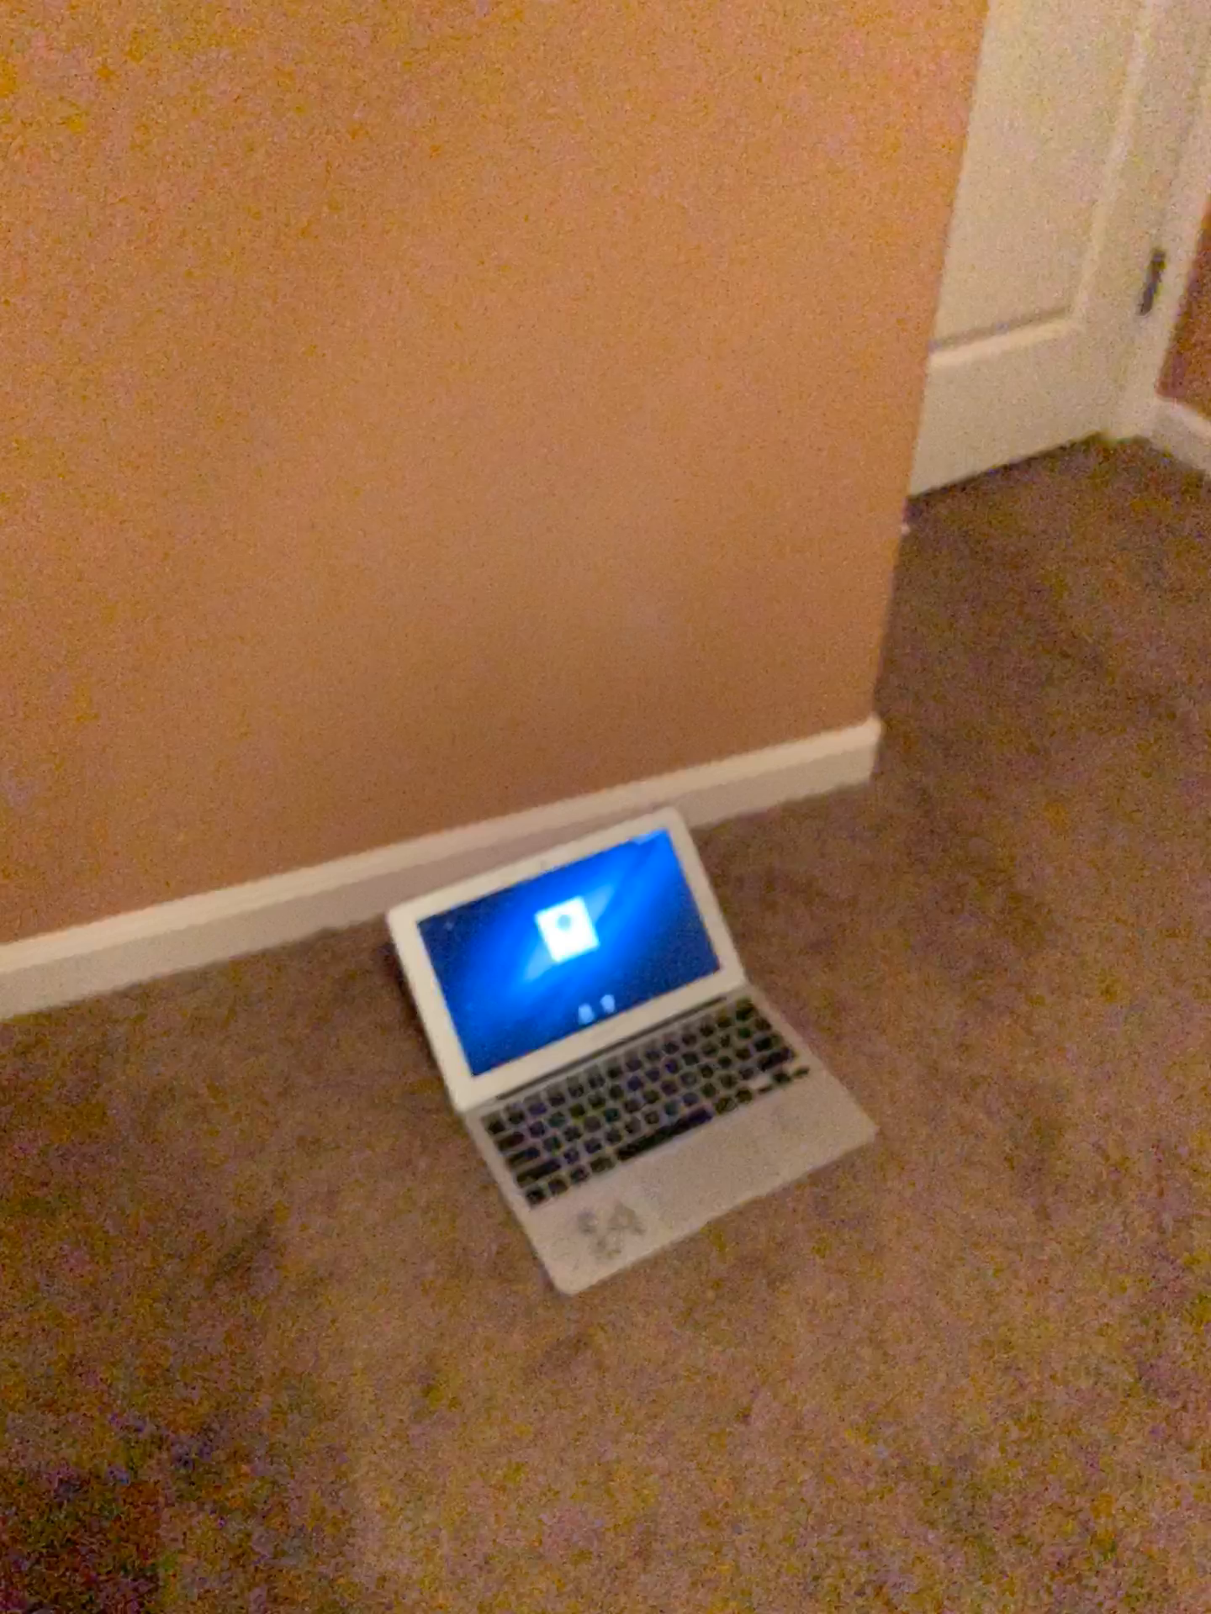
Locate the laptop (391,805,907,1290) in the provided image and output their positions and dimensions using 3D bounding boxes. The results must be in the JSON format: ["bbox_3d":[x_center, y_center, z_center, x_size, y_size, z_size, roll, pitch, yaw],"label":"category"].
[{"bbox_3d":[0.025,0.177,1.066,0.298,0.116,0.326,-19,42,-23],"label":"laptop"}]
